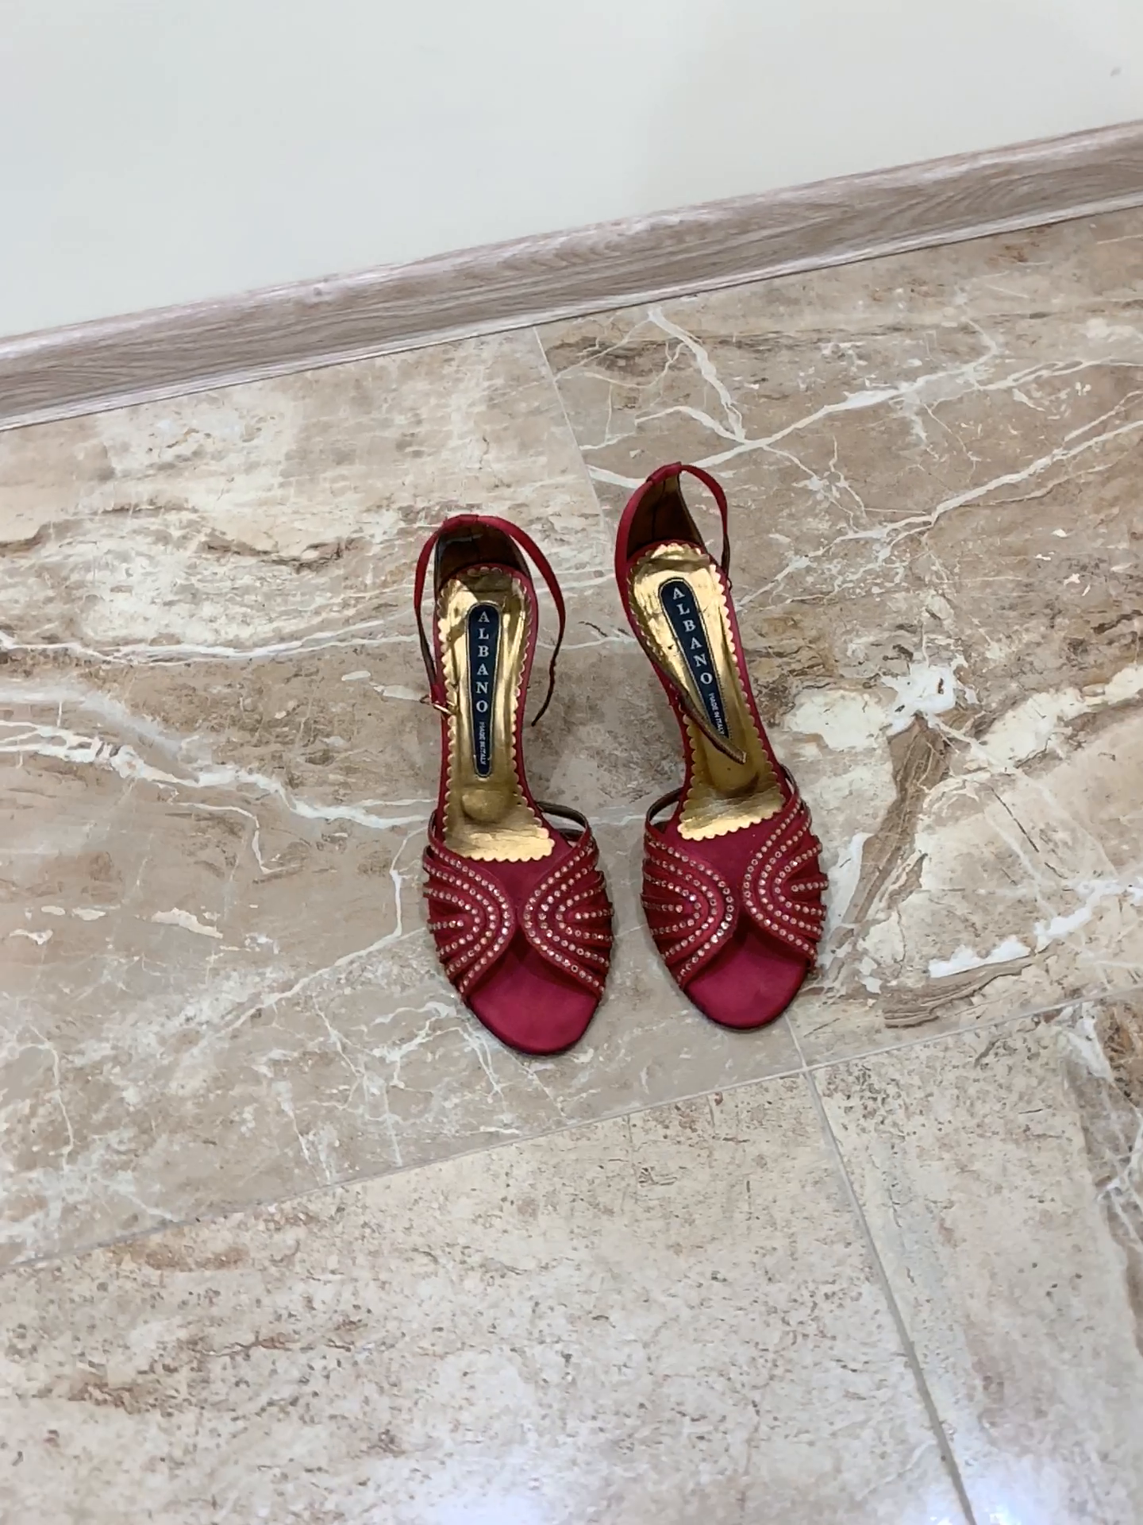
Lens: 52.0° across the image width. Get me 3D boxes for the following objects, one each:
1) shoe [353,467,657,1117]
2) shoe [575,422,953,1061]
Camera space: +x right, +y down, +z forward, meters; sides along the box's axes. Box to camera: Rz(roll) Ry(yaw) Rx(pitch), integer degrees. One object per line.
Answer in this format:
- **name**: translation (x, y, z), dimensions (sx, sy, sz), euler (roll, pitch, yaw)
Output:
- **shoe**: translation (-0.030, 0.007, 0.492), dimensions (0.090, 0.129, 0.231), euler (-9, 52, -2)
- **shoe**: translation (0.066, -0.015, 0.498), dimensions (0.090, 0.129, 0.231), euler (-9, 52, -2)
